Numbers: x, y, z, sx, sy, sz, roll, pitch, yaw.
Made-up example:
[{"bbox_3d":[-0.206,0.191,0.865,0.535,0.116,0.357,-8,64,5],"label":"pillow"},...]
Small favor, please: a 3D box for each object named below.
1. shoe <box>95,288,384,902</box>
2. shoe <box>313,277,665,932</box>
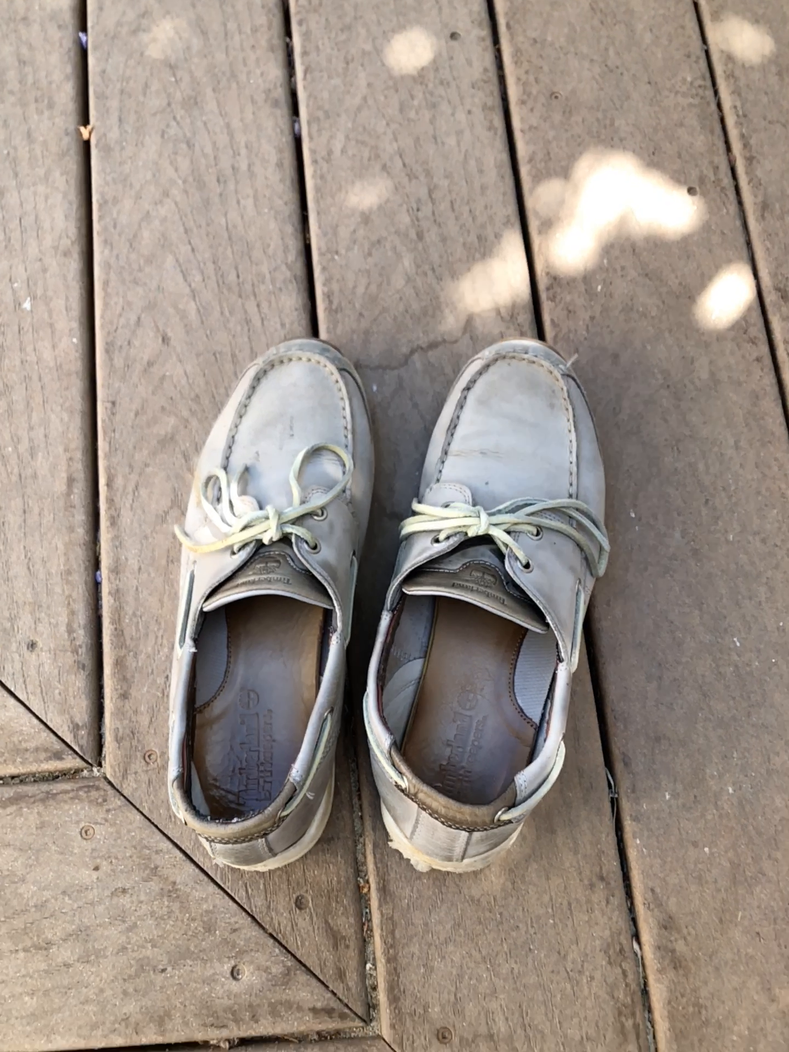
[{"bbox_3d":[-0.073,0.032,0.487,0.119,0.096,0.310,2,75,2],"label":"shoe"},{"bbox_3d":[0.055,0.035,0.483,0.121,0.097,0.312,11,76,4],"label":"shoe"}]
